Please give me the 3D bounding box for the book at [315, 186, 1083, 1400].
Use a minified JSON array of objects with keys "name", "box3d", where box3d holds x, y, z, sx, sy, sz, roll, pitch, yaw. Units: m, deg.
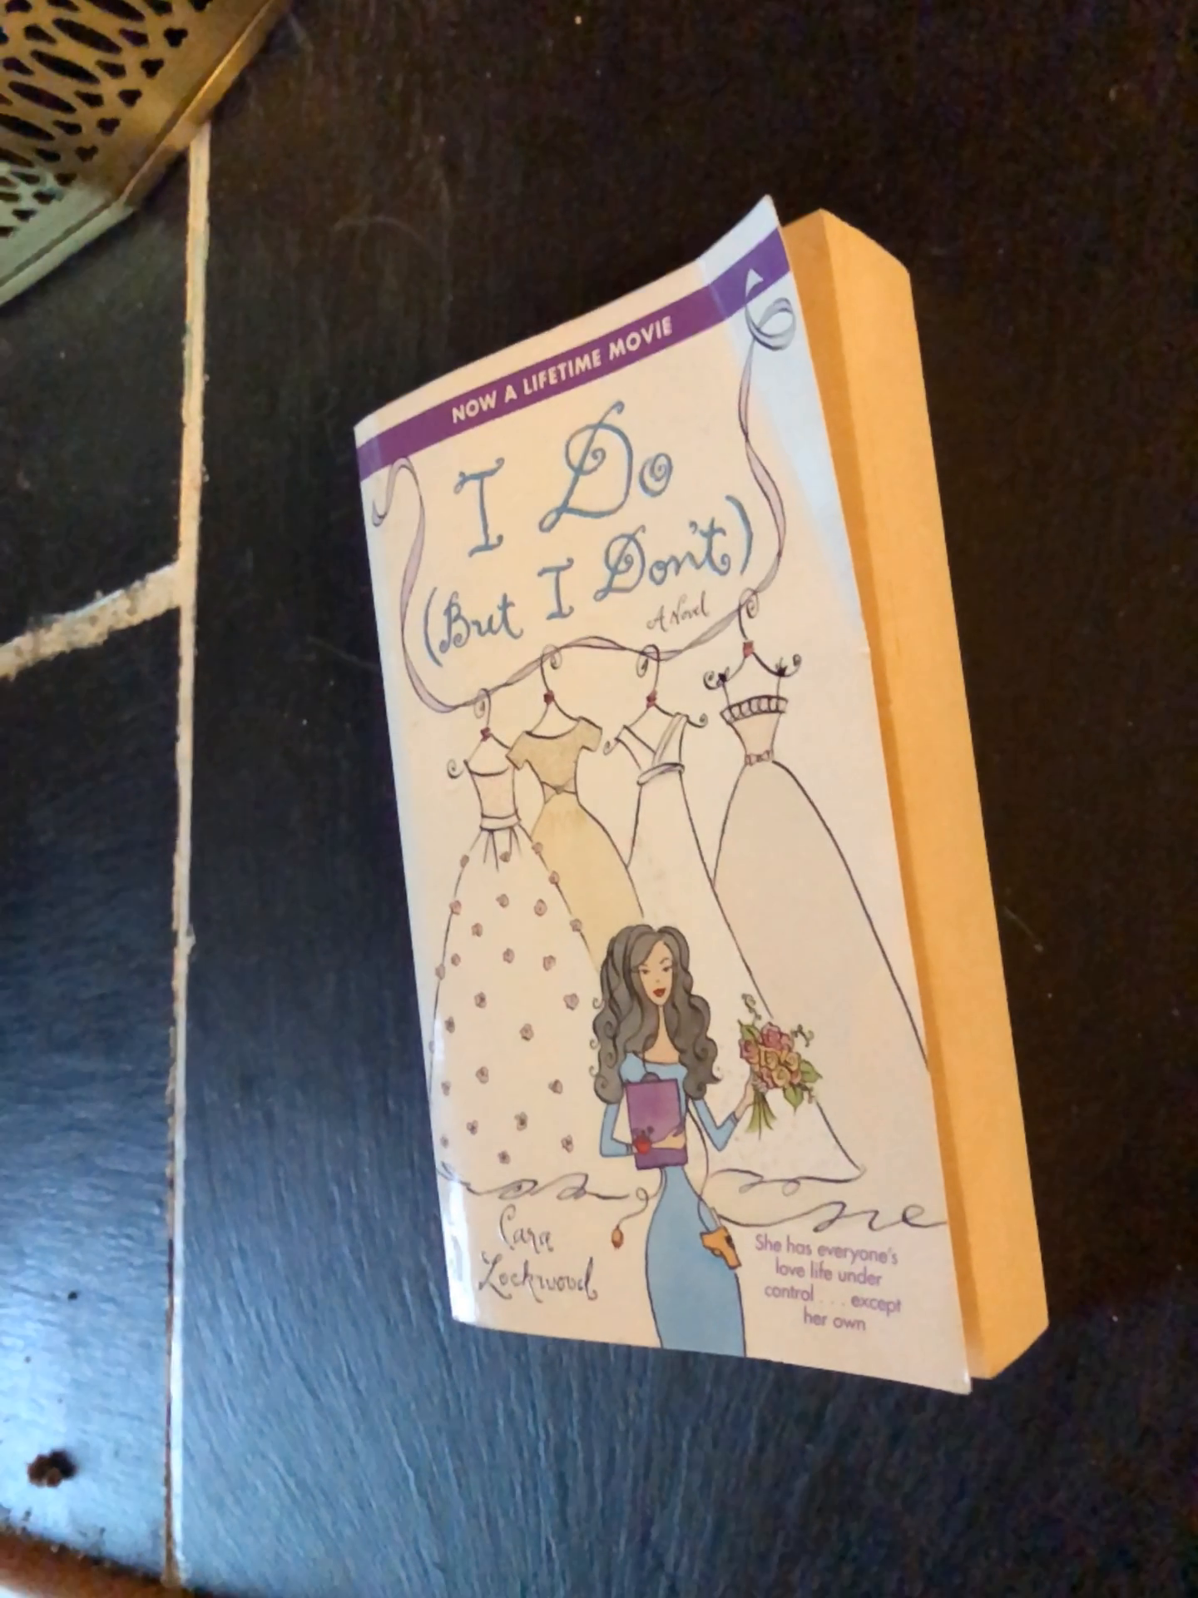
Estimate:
[{"name":"book","box3d":[0.010,0.004,0.225,0.111,0.032,0.164,-9,86,37]}]
